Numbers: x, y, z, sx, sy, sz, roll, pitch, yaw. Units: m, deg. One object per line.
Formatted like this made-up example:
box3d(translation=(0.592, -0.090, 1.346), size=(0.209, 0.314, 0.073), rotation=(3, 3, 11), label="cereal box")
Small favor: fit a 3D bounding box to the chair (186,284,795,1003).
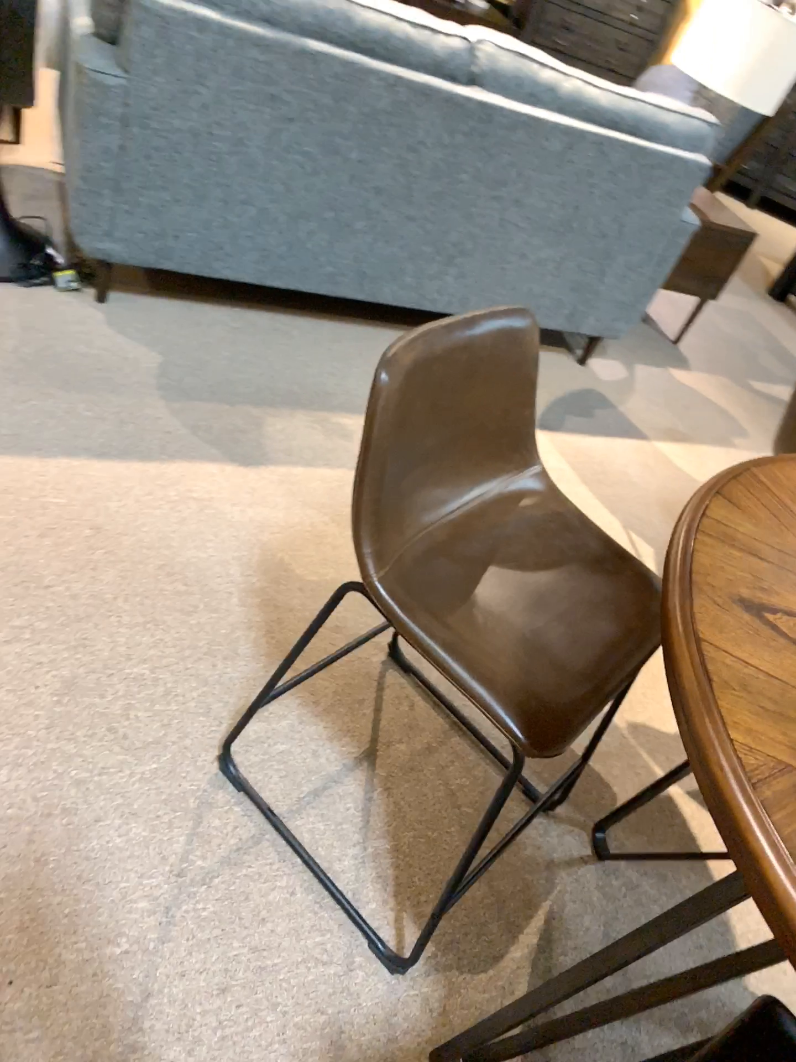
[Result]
box3d(translation=(0.147, 0.153, 1.298), size=(0.581, 0.806, 0.602), rotation=(43, 43, 21), label="chair")
